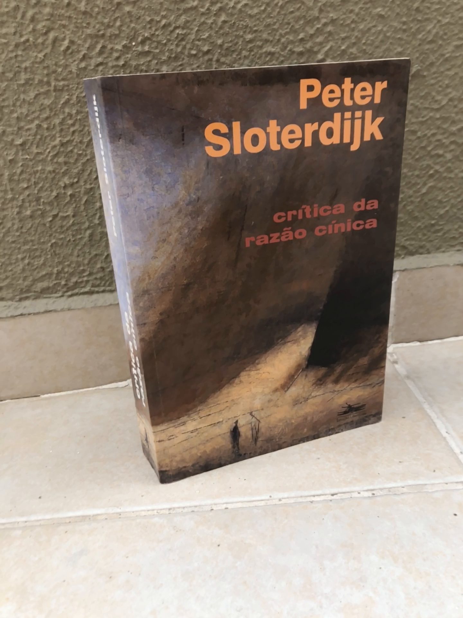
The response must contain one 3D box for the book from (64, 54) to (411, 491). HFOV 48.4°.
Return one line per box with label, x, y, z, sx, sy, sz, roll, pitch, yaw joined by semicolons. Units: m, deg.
book;0.010;-0.021;0.303;0.165;0.220;0.058;-12;25;-16
